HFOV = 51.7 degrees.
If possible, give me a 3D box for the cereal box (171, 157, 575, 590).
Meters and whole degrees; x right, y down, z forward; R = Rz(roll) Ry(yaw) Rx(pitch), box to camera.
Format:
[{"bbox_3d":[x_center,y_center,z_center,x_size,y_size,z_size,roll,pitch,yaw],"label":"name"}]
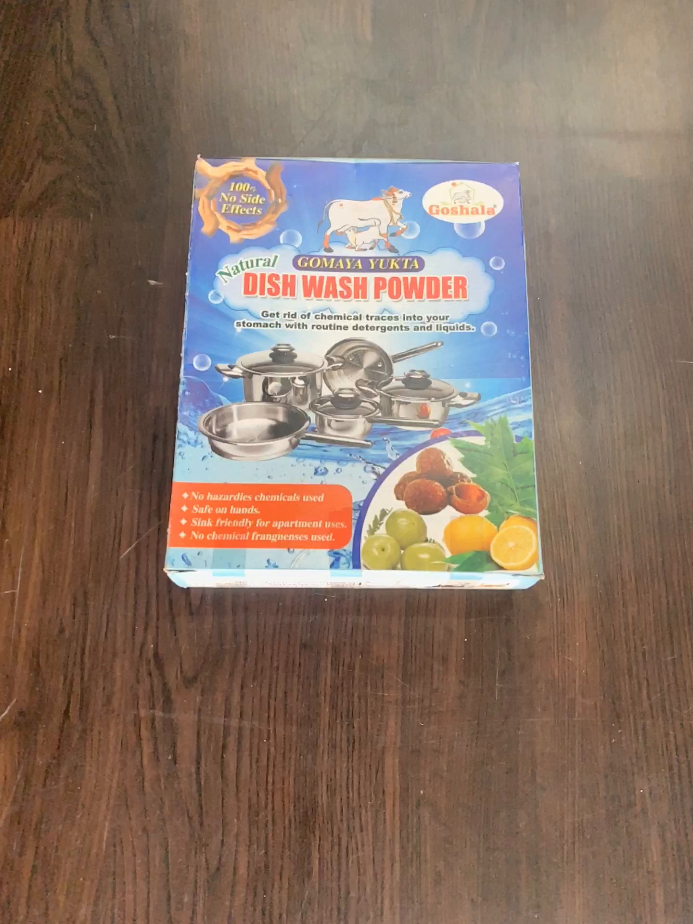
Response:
[{"bbox_3d":[0.010,-0.036,0.300,0.140,0.060,0.170,0,73,1],"label":"cereal box"}]
